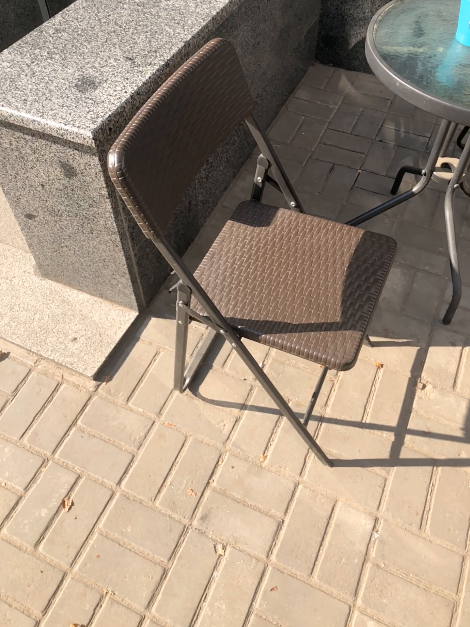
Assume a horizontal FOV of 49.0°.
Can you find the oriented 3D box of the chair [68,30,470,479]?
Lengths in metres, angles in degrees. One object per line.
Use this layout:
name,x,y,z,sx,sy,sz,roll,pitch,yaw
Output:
chair,0.083,-0.080,1.110,0.510,0.748,0.451,18,55,14
